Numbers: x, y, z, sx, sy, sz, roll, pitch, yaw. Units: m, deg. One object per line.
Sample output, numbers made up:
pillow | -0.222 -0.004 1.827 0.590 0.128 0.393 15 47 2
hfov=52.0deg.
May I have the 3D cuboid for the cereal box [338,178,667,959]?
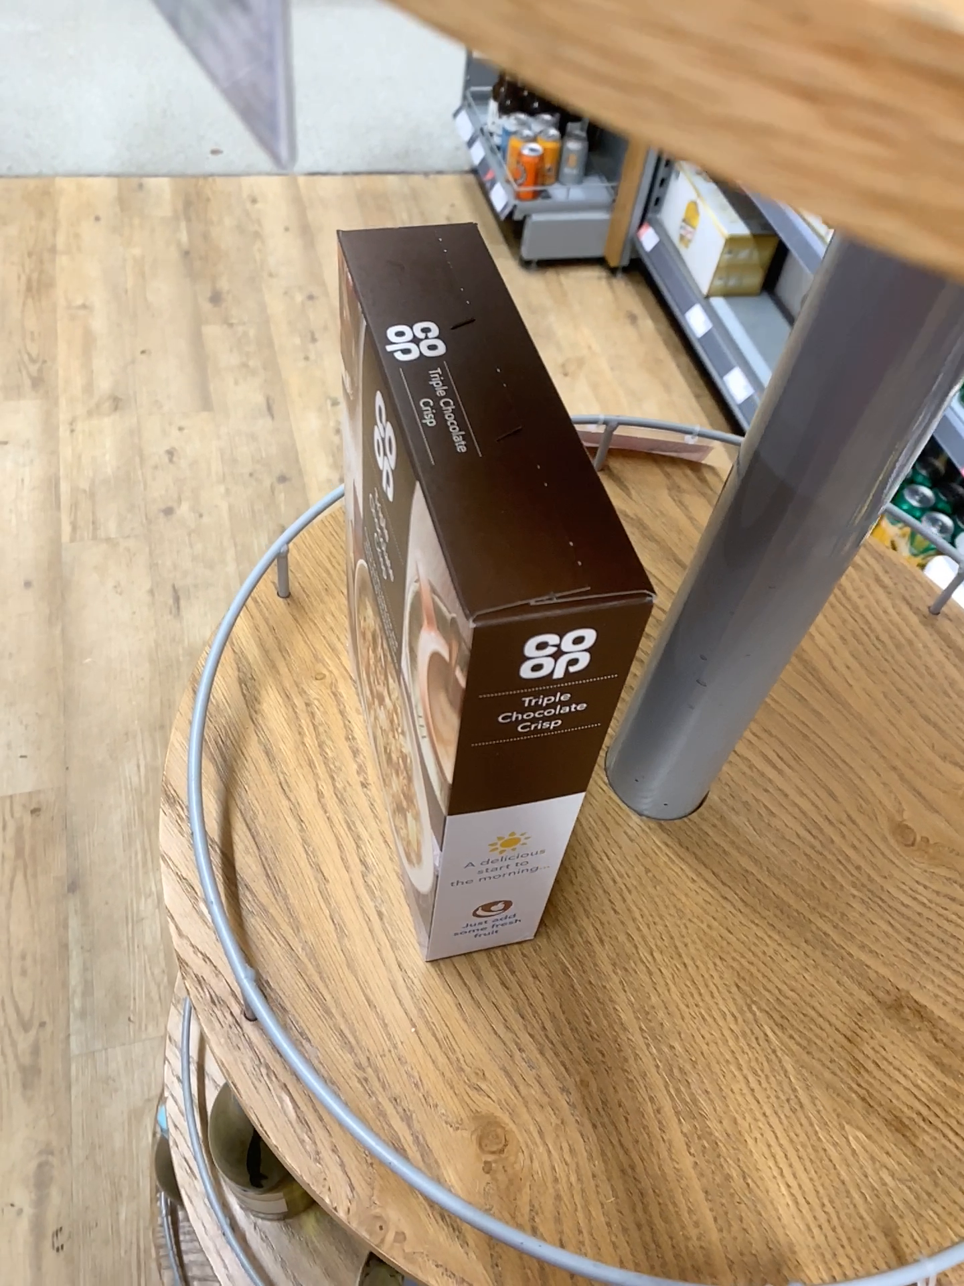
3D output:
cereal box | -0.014 -0.015 0.395 0.050 0.248 0.191 -9 55 -13
